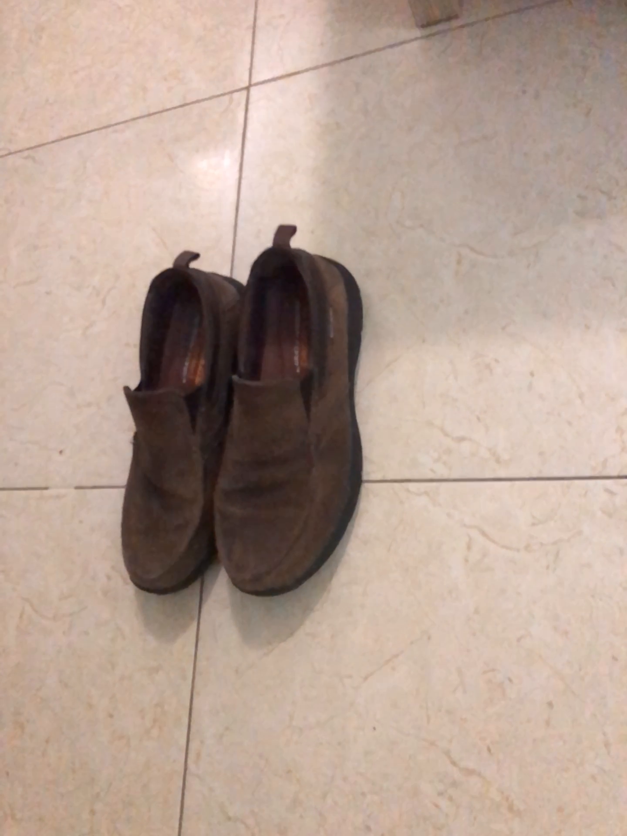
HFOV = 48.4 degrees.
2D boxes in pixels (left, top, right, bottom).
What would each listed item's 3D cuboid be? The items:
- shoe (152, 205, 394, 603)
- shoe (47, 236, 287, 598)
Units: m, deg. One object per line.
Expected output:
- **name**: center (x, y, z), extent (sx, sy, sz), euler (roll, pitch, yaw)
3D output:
- **shoe**: center (-0.025, -0.010, 0.581), extent (0.130, 0.100, 0.300), euler (1, 75, 25)
- **shoe**: center (-0.125, -0.001, 0.633), extent (0.120, 0.100, 0.300), euler (4, 76, 25)
